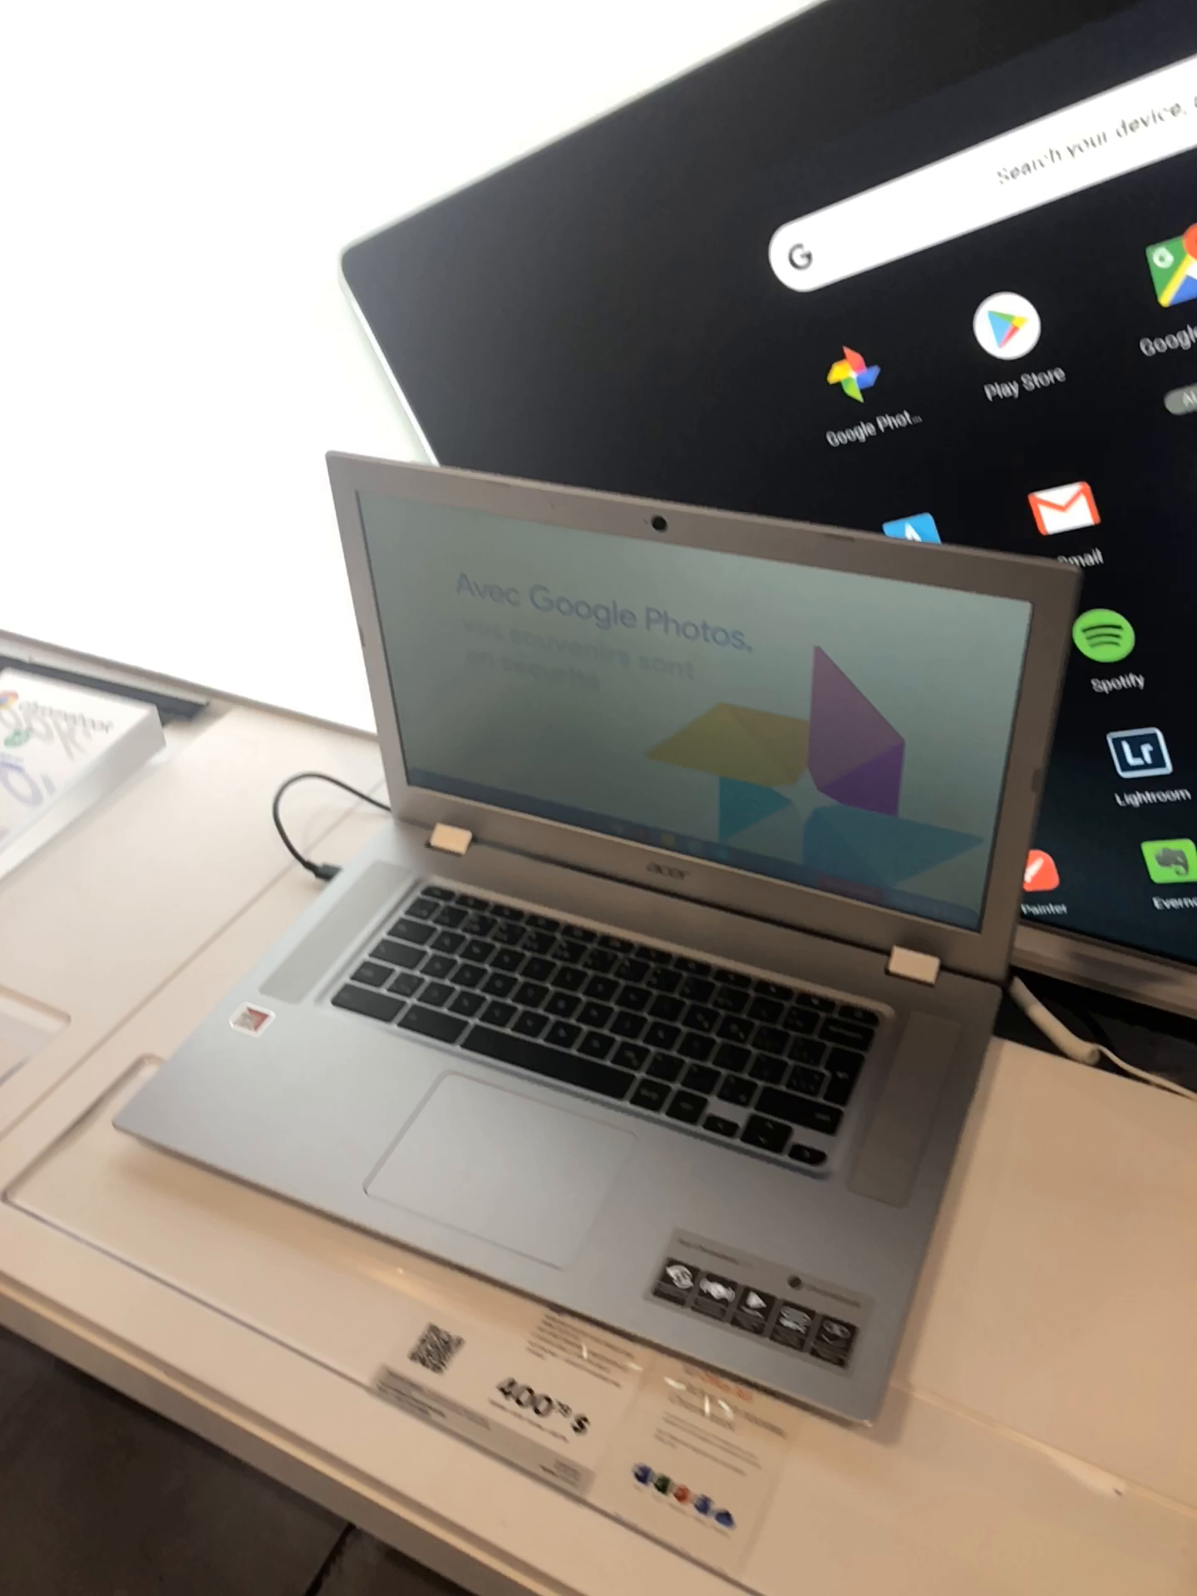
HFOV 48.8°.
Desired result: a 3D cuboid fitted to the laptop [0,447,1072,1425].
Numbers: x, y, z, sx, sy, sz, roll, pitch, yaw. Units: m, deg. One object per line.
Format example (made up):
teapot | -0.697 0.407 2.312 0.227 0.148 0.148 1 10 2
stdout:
laptop | -0.019 0.029 0.600 0.377 0.249 0.264 14 39 21
